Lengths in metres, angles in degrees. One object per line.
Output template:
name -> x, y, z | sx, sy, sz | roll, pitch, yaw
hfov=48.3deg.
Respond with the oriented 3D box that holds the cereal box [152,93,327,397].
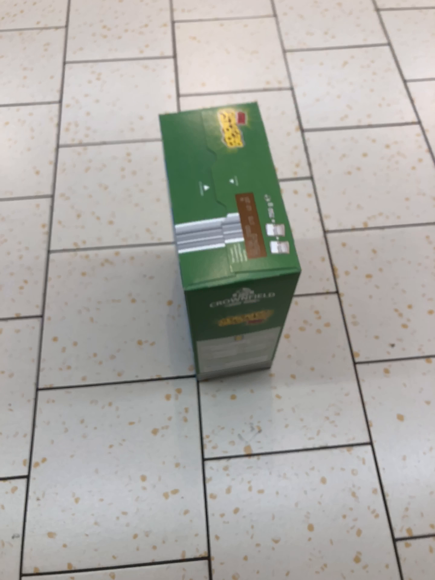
cereal box -> 0.012, -0.030, 0.529 | 0.110, 0.259, 0.211 | -9, 63, -4
